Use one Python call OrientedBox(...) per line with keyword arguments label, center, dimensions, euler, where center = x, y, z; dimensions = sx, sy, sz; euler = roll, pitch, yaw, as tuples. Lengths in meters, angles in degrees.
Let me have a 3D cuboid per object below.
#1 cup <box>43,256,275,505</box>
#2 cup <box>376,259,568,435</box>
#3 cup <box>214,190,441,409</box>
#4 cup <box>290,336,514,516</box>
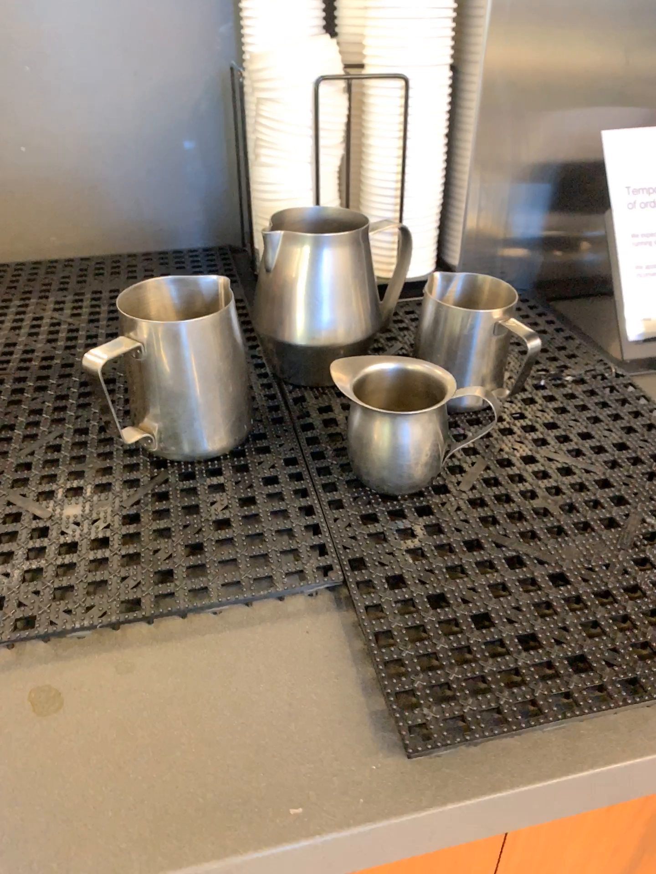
OrientedBox(label="cup", center=(-0.104, -0.043, 0.456), dimensions=(0.080, 0.109, 0.120), euler=(17, 38, 23))
OrientedBox(label="cup", center=(0.104, -0.073, 0.516), dimensions=(0.080, 0.080, 0.111), euler=(-23, 40, -30))
OrientedBox(label="cup", center=(-0.001, -0.121, 0.572), dimensions=(0.150, 0.129, 0.101), euler=(-17, 38, -24))
OrientedBox(label="cup", center=(0.047, -0.011, 0.432), dimensions=(0.120, 0.060, 0.080), euler=(12, 36, 17))
